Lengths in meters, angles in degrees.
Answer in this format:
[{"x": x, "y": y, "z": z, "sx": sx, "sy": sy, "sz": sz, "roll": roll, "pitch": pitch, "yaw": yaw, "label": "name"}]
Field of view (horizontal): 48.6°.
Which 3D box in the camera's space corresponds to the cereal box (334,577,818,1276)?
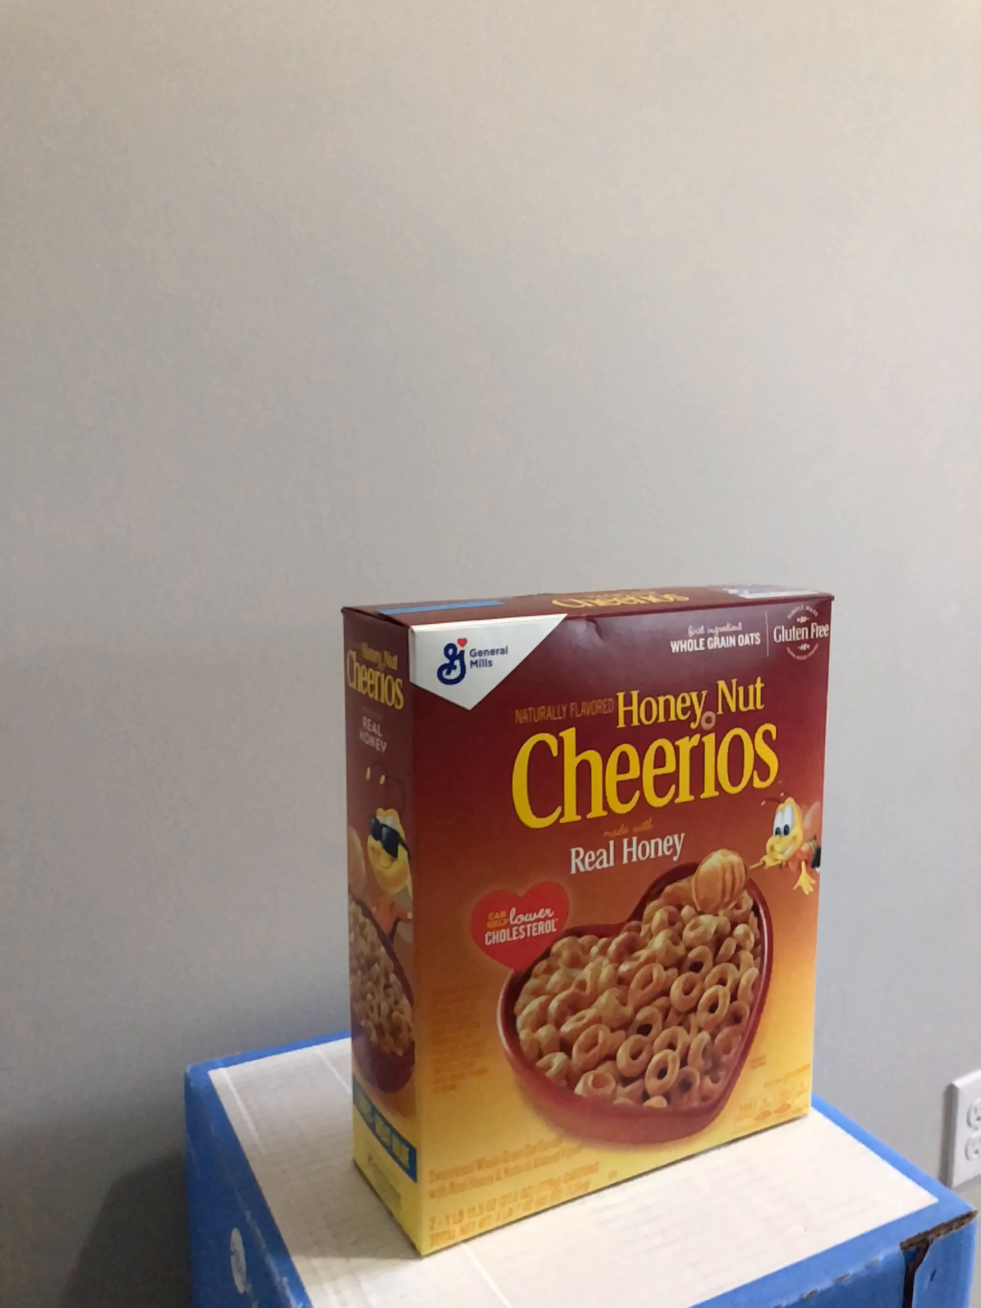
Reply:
[{"x": 0.048, "y": 0.123, "z": 0.575, "sx": 0.240, "sy": 0.309, "sz": 0.080, "roll": -5, "pitch": 10, "yaw": -28, "label": "cereal box"}]
